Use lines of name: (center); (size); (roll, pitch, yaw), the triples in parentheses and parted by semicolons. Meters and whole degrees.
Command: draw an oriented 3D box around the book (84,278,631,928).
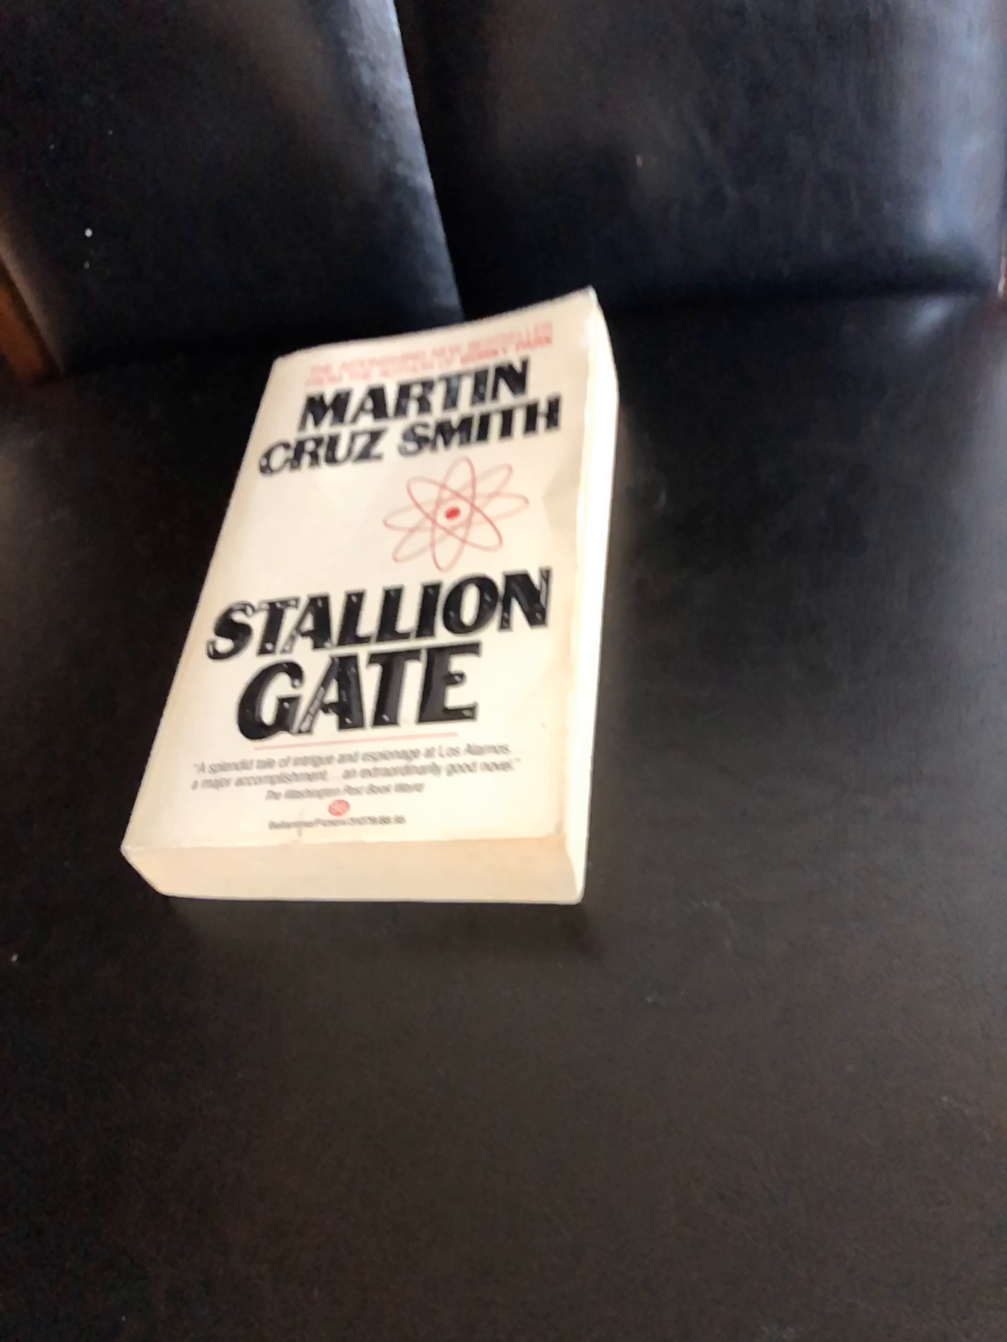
book: (-0.027, -0.028, 0.305); (0.110, 0.030, 0.191); (-2, 54, 14)
